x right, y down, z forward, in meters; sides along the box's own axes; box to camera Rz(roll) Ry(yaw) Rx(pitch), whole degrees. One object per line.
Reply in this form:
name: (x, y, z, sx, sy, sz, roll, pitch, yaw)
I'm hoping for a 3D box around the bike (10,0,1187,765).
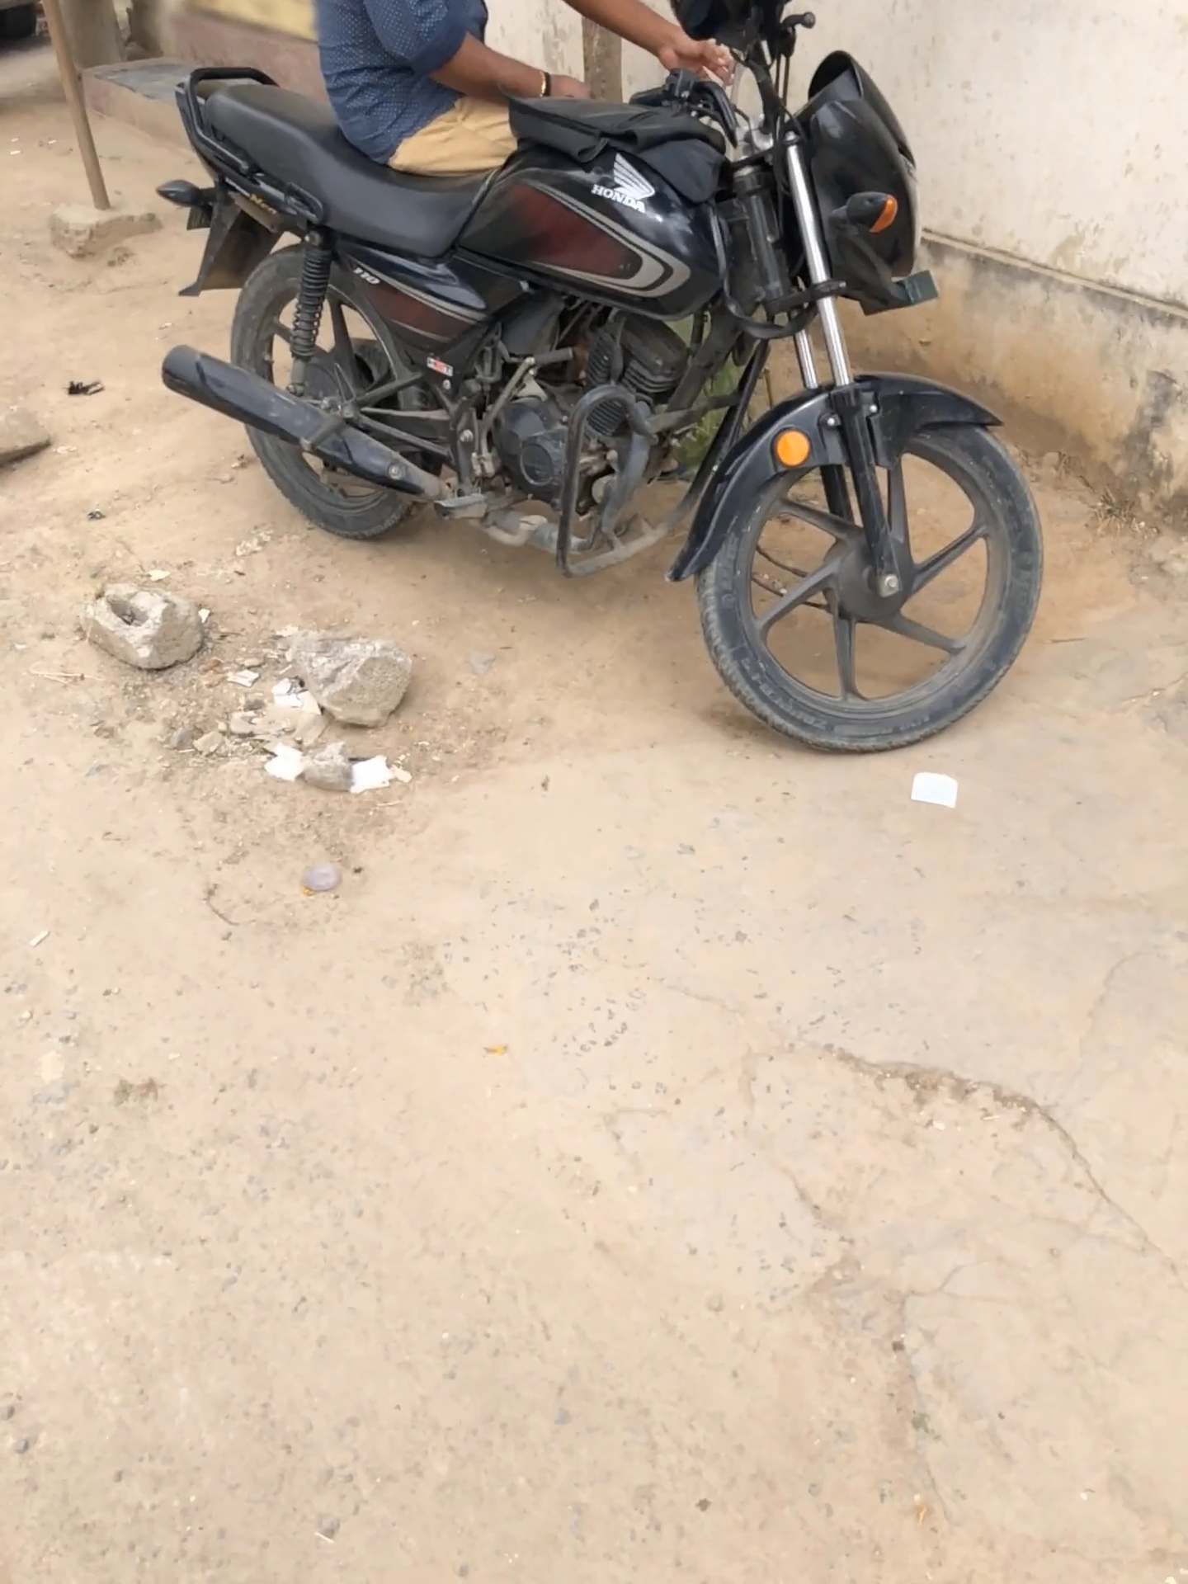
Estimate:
bike: (0.035, -0.895, 2.327, 1.663, 1.069, 0.726, 19, 43, 22)
